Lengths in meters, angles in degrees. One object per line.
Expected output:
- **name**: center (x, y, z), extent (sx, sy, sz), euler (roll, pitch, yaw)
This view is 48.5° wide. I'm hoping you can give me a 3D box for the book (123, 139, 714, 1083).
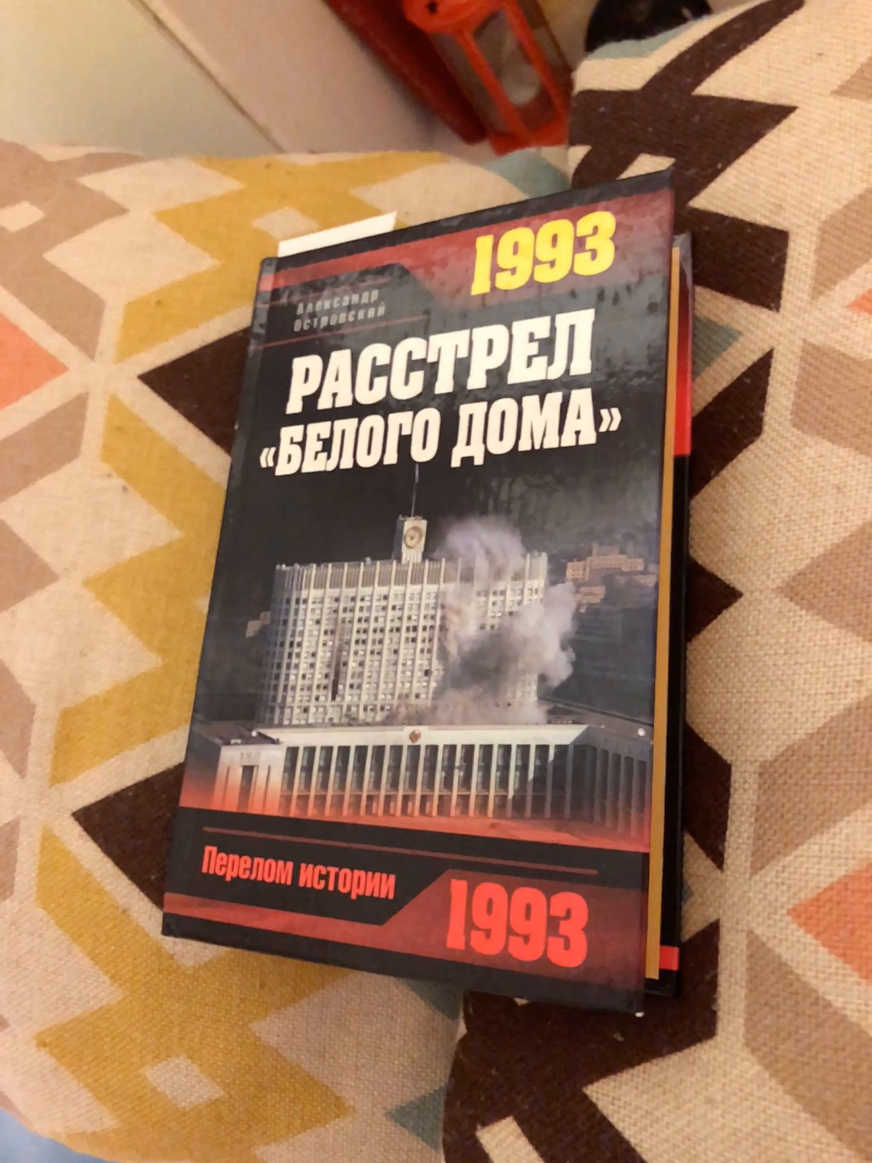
- **book**: center (-0.003, 0.000, 0.256), extent (0.140, 0.030, 0.210), euler (-3, 73, 29)
